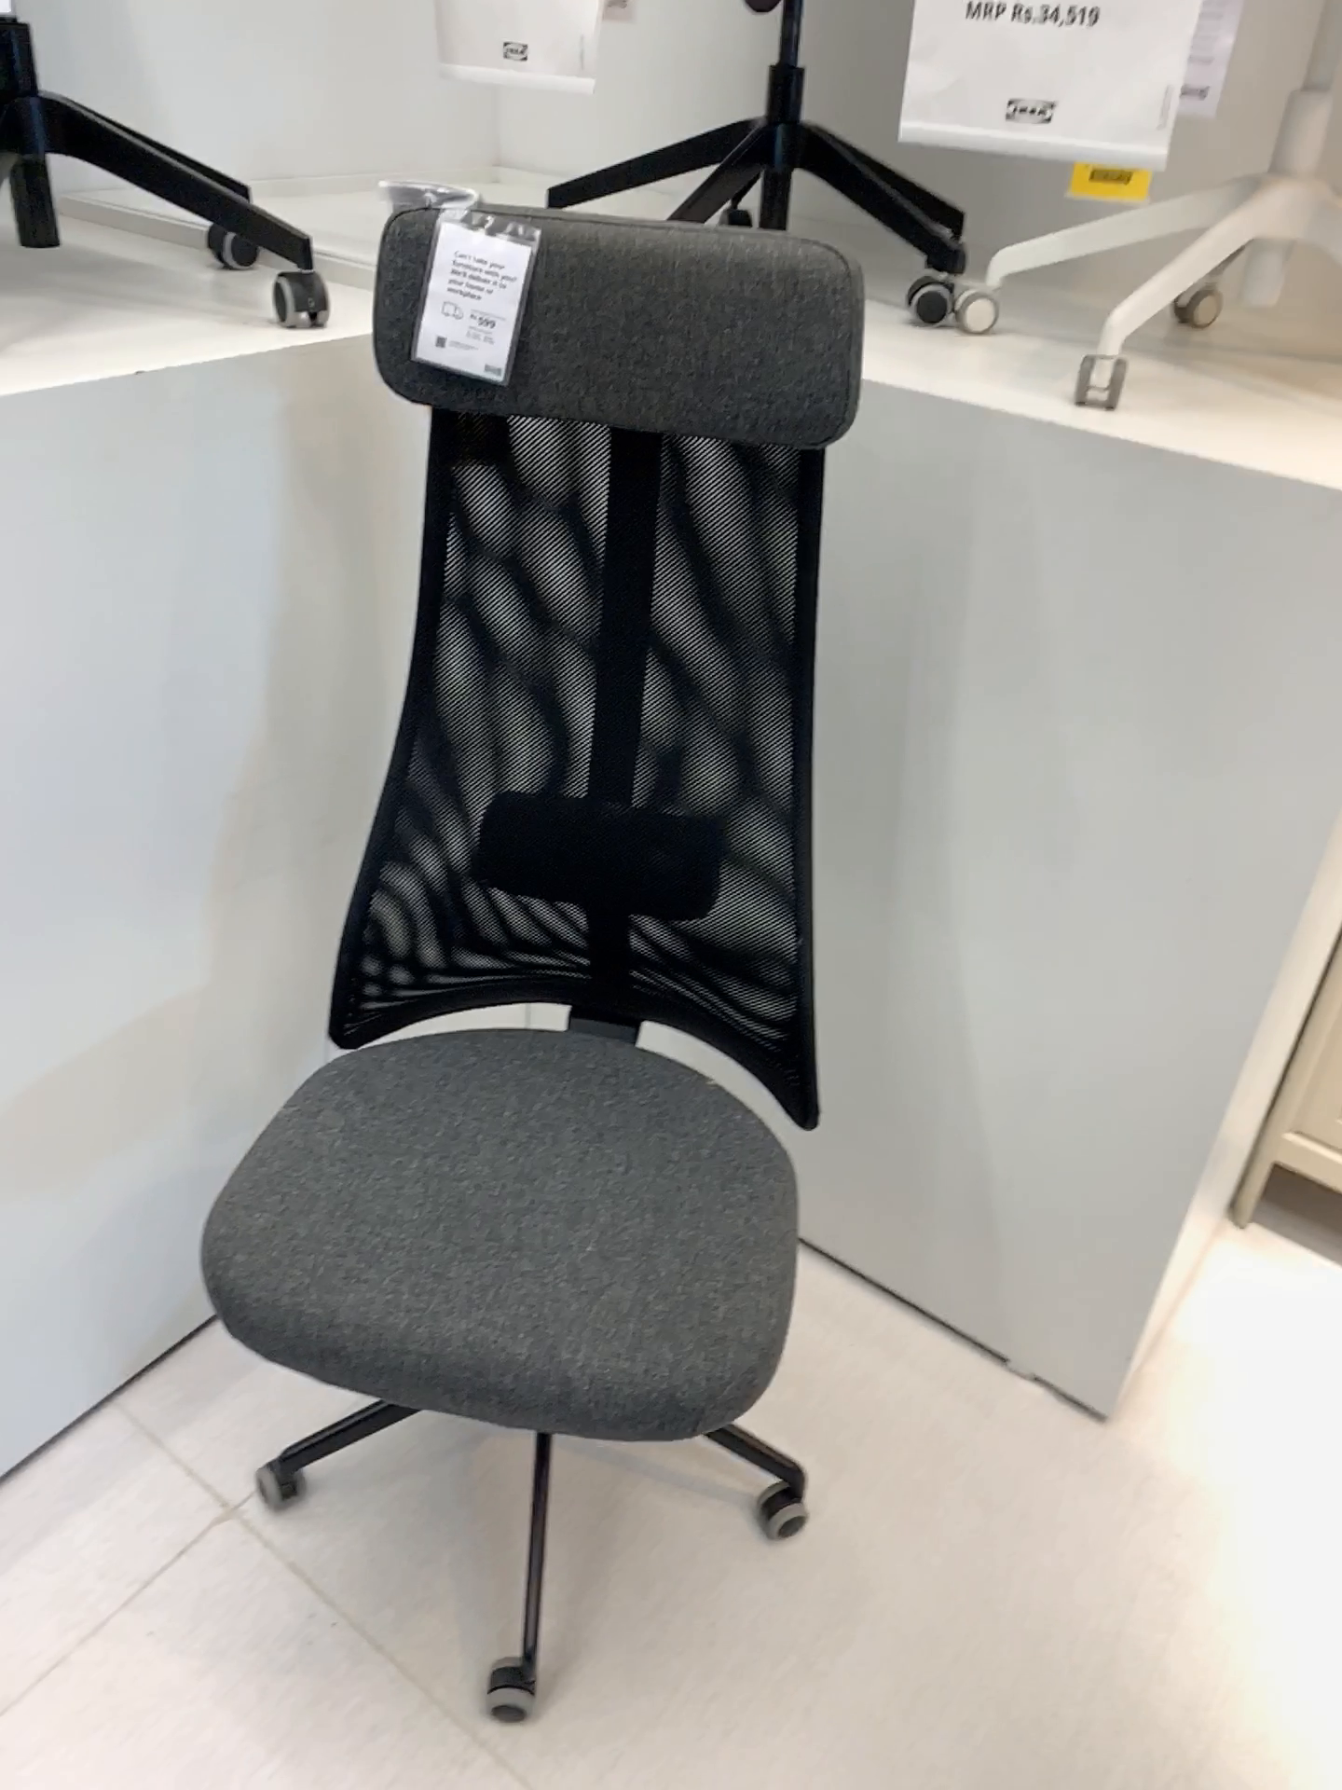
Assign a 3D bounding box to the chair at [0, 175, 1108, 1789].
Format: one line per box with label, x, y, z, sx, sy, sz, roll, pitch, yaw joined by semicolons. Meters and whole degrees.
chair;-0.086;0.092;1.285;0.660;1.264;0.673;12;34;12
